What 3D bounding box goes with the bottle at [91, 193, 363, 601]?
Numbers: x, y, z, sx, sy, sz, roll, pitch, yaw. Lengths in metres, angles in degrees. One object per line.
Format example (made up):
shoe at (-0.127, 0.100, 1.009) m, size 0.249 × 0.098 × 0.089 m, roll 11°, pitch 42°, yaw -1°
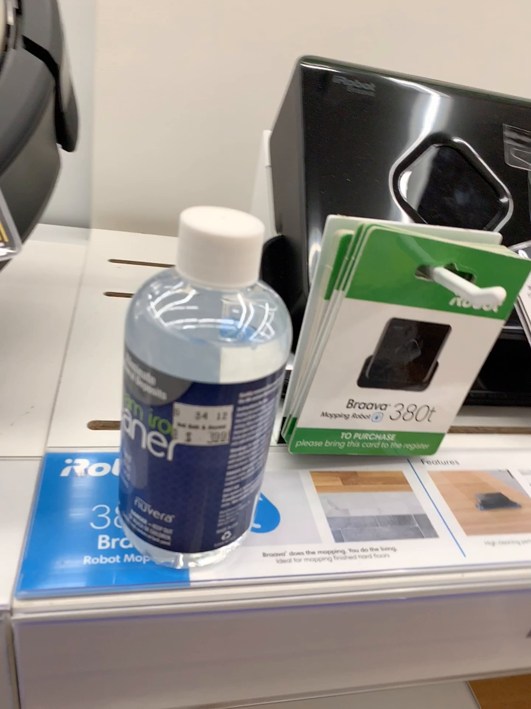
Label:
bottle at (-0.023, 0.014, 0.203) m, size 0.060 × 0.129 × 0.060 m, roll 9°, pitch 30°, yaw -5°
